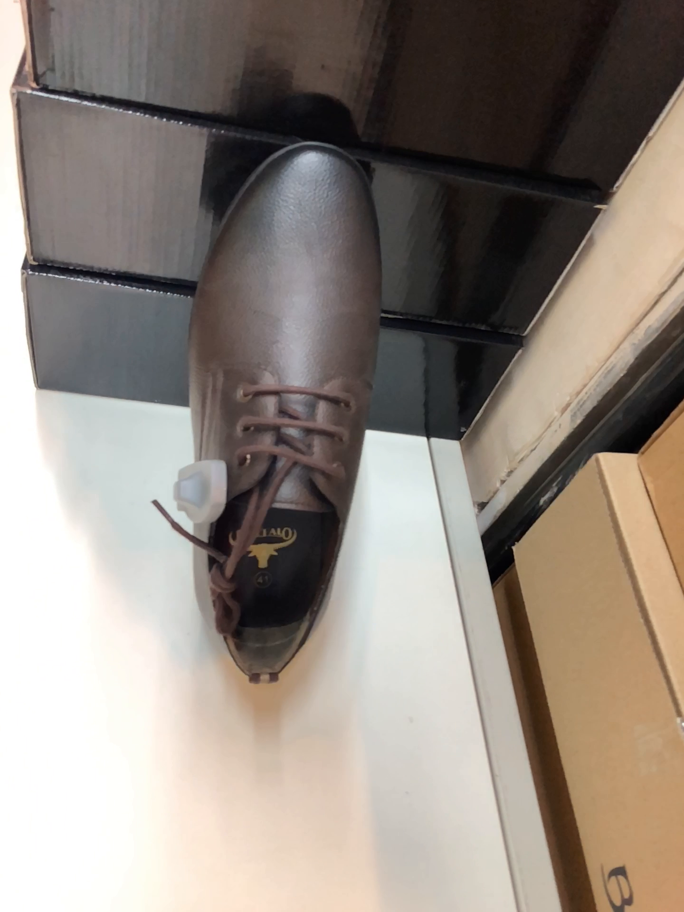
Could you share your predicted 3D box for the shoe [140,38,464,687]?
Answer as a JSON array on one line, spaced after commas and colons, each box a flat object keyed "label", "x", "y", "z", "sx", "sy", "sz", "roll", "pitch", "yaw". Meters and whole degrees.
[{"label": "shoe", "x": -0.027, "y": -0.039, "z": 0.386, "sx": 0.111, "sy": 0.271, "sz": 0.116, "roll": 6, "pitch": 10, "yaw": -7}]
